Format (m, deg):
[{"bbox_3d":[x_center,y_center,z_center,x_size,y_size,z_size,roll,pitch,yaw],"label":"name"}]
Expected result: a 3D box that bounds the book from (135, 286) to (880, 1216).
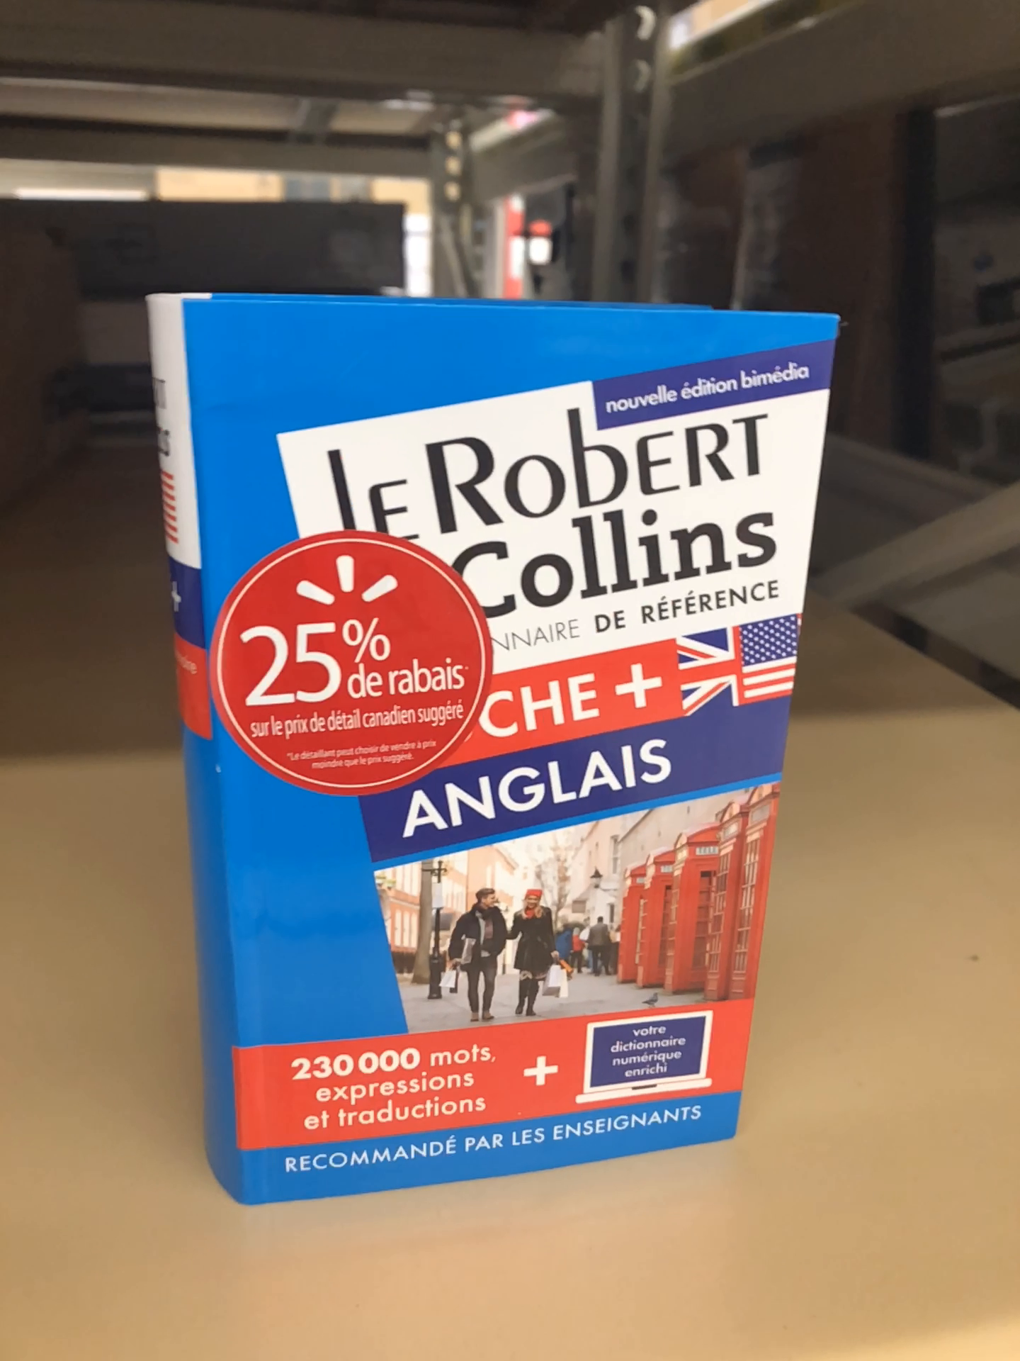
[{"bbox_3d":[-0.005,0.013,0.236,0.121,0.173,0.059,-2,21,-12],"label":"book"}]
